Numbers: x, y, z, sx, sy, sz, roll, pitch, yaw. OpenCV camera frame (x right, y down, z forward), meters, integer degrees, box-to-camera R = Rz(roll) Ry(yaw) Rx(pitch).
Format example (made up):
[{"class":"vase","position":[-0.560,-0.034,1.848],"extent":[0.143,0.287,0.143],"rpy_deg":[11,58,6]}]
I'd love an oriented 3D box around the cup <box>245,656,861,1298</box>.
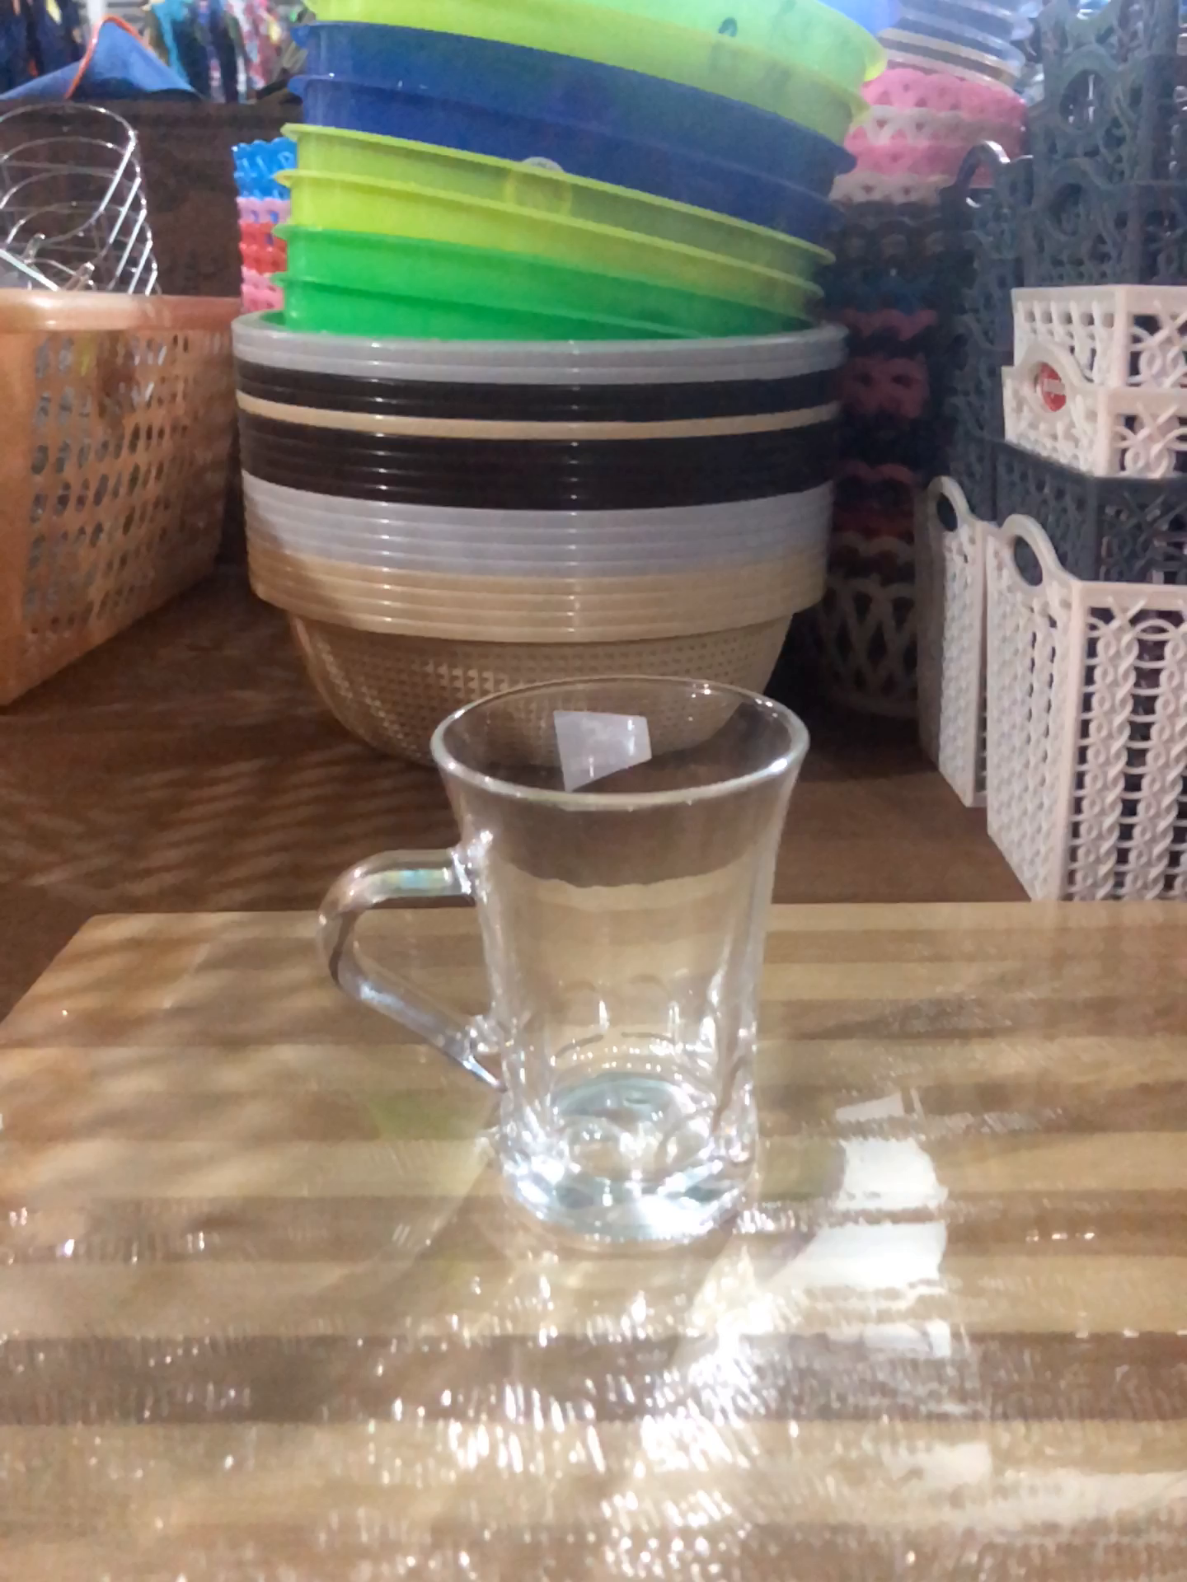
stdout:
[{"class":"cup","position":[-0.007,0.029,0.235],"extent":[0.090,0.090,0.060],"rpy_deg":[-3,21,-5]}]
